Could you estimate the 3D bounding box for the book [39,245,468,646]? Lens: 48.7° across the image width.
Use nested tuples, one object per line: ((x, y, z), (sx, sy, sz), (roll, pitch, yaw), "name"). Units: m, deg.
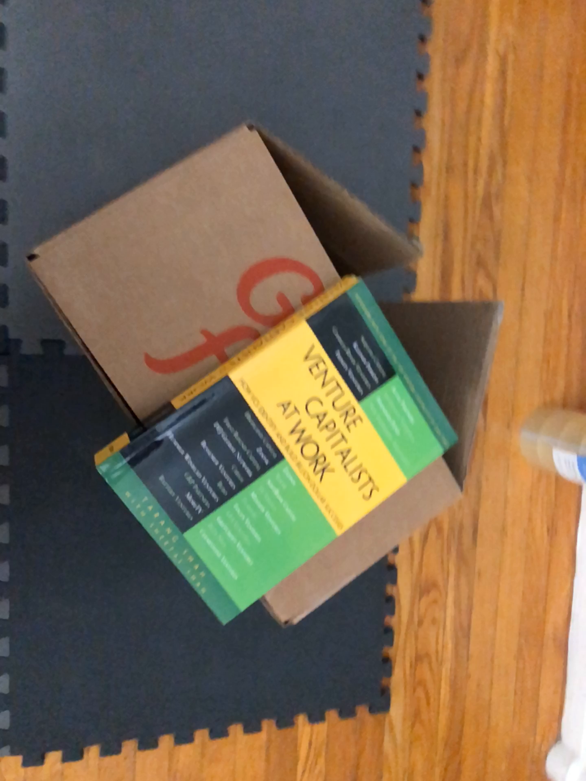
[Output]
((-0.019, 0.036, 0.470), (0.260, 0.040, 0.160), (-36, 105, -9), "book")
